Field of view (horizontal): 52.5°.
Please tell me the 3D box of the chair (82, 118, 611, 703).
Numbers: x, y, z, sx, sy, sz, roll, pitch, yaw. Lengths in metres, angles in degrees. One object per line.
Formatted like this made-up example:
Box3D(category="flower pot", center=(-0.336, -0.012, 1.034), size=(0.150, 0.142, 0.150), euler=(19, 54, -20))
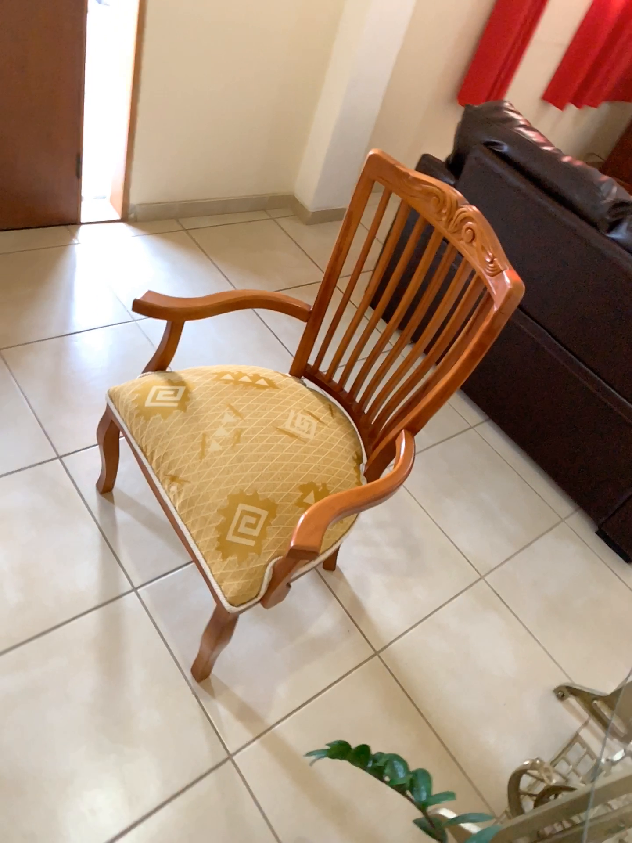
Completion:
Box3D(category="chair", center=(-0.061, -0.003, 1.404), size=(0.633, 1.014, 0.621), euler=(-18, 57, -35))
